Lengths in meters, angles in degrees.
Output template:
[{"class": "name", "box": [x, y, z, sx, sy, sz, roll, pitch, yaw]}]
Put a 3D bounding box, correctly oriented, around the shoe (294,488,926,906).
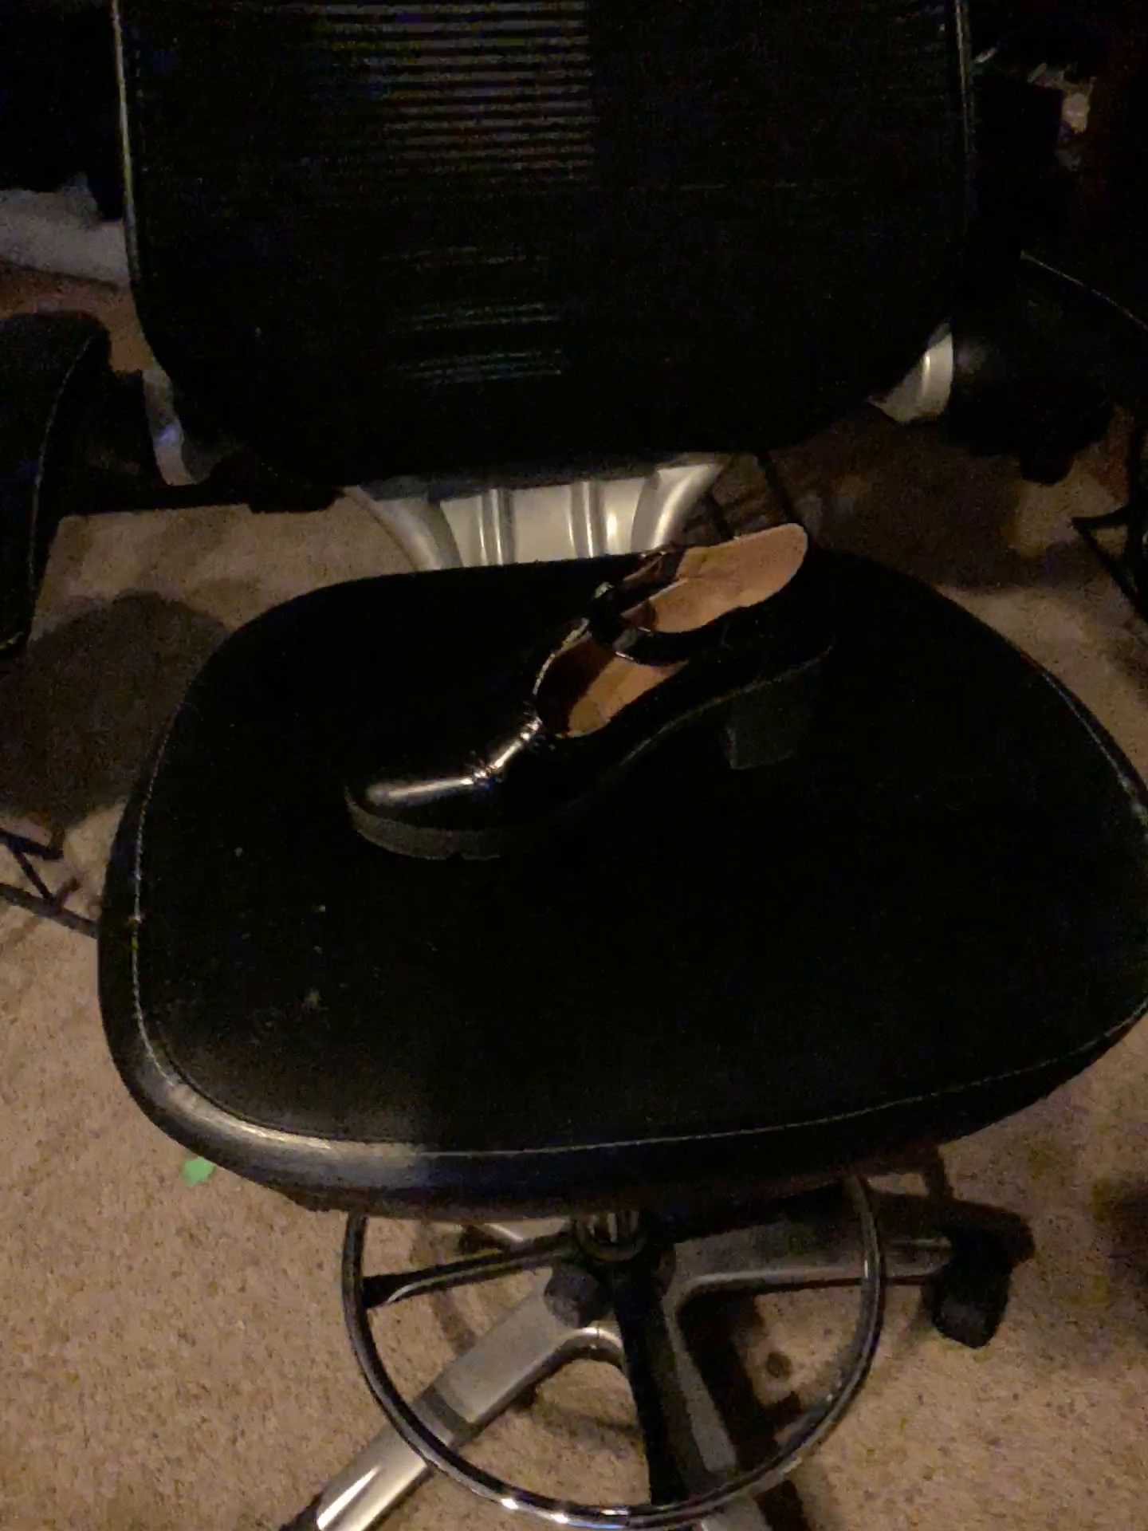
[{"class": "shoe", "box": [0.017, -0.041, 0.618, 0.270, 0.100, 0.110, -15, 40, -15]}]
